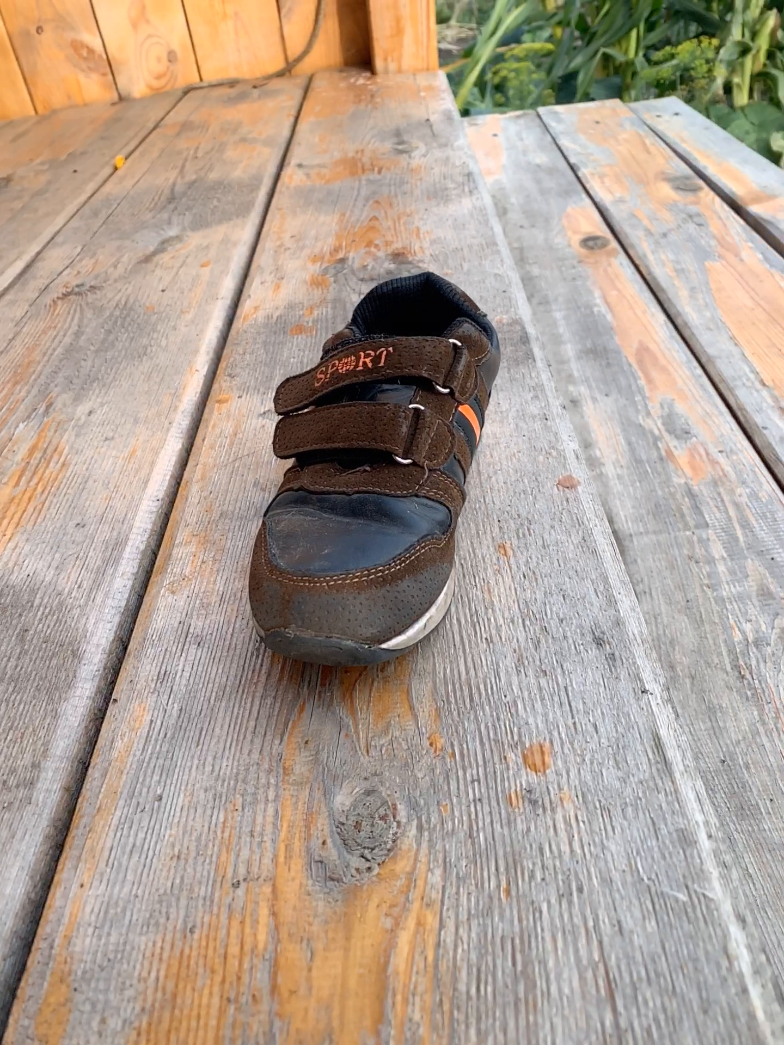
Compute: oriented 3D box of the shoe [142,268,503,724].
[{"bbox_3d":[-0.009,-0.025,0.341,0.090,0.089,0.192,2,39,14],"label":"shoe"}]
